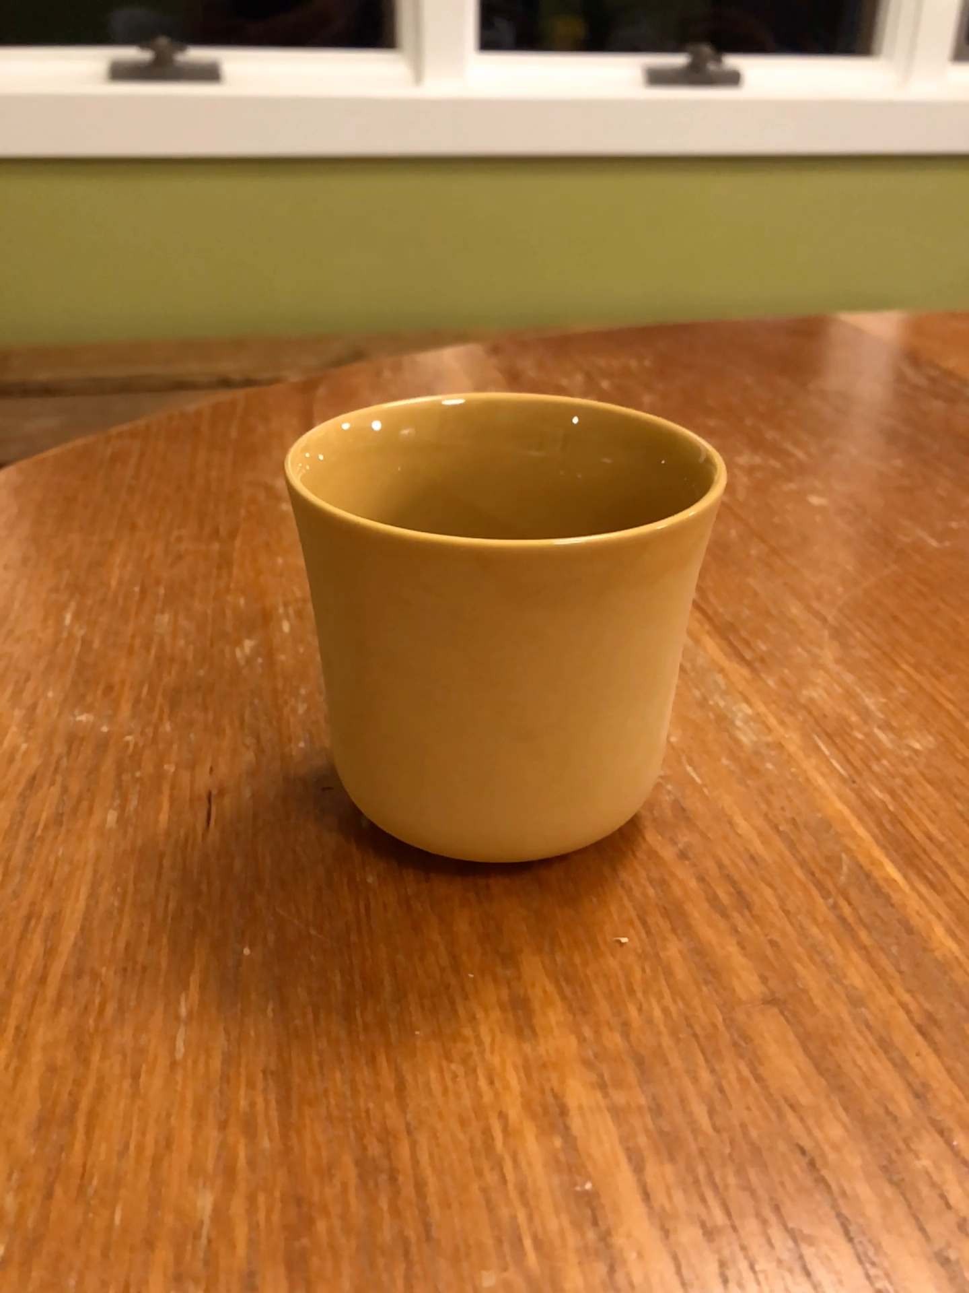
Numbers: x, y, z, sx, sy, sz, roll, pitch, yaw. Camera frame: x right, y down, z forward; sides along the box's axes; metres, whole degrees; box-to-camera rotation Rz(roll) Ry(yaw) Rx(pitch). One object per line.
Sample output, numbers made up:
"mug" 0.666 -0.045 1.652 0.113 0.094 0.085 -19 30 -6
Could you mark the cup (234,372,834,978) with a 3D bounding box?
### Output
"cup" 0.005 -0.002 0.206 0.078 0.073 0.074 1 29 0
